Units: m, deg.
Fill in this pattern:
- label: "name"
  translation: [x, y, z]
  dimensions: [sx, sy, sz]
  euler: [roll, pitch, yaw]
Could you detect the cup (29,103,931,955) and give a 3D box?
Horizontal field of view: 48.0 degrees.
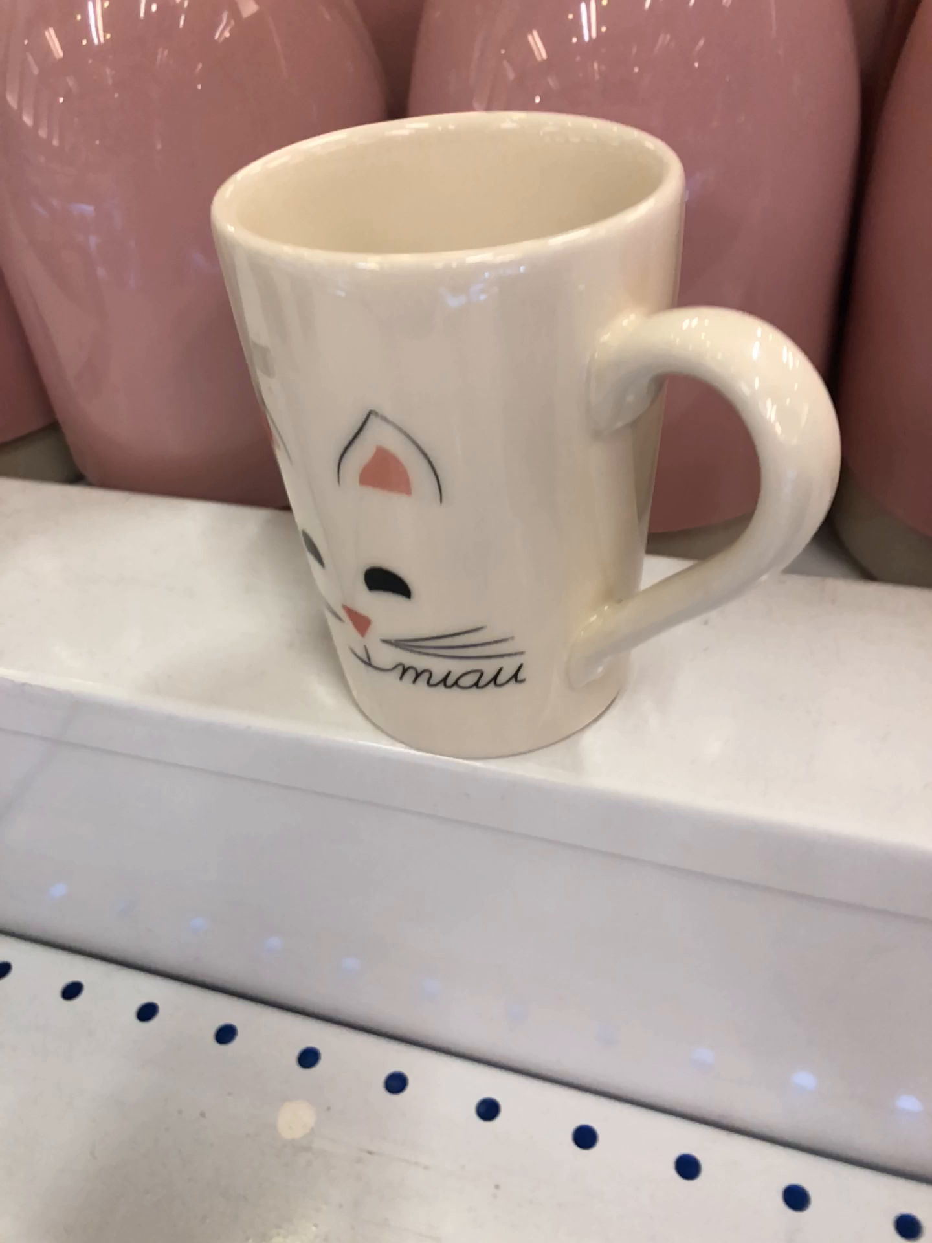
- label: "cup"
  translation: [0.005, -0.025, 0.188]
  dimensions: [0.110, 0.099, 0.080]
  euler: [21, 46, 29]
